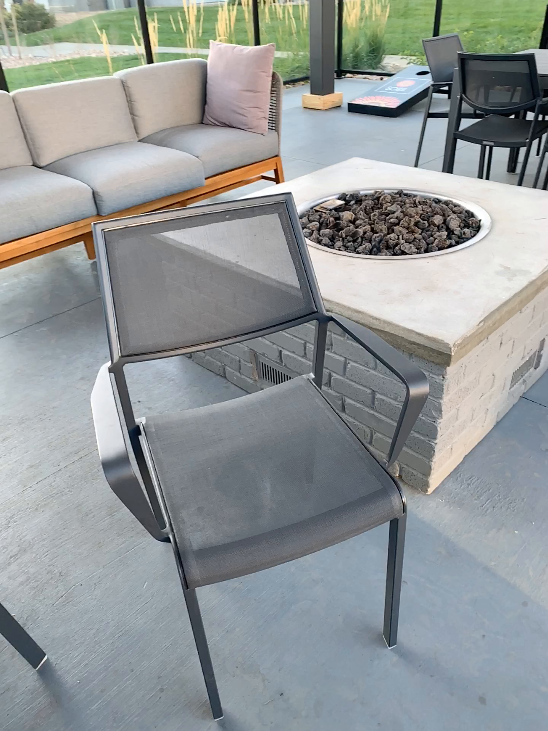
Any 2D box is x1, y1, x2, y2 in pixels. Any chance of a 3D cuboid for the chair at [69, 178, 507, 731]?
[{"bbox_3d":[-0.023,0.147,1.118,0.510,0.806,0.613,-15,35,-16],"label":"chair"}]
